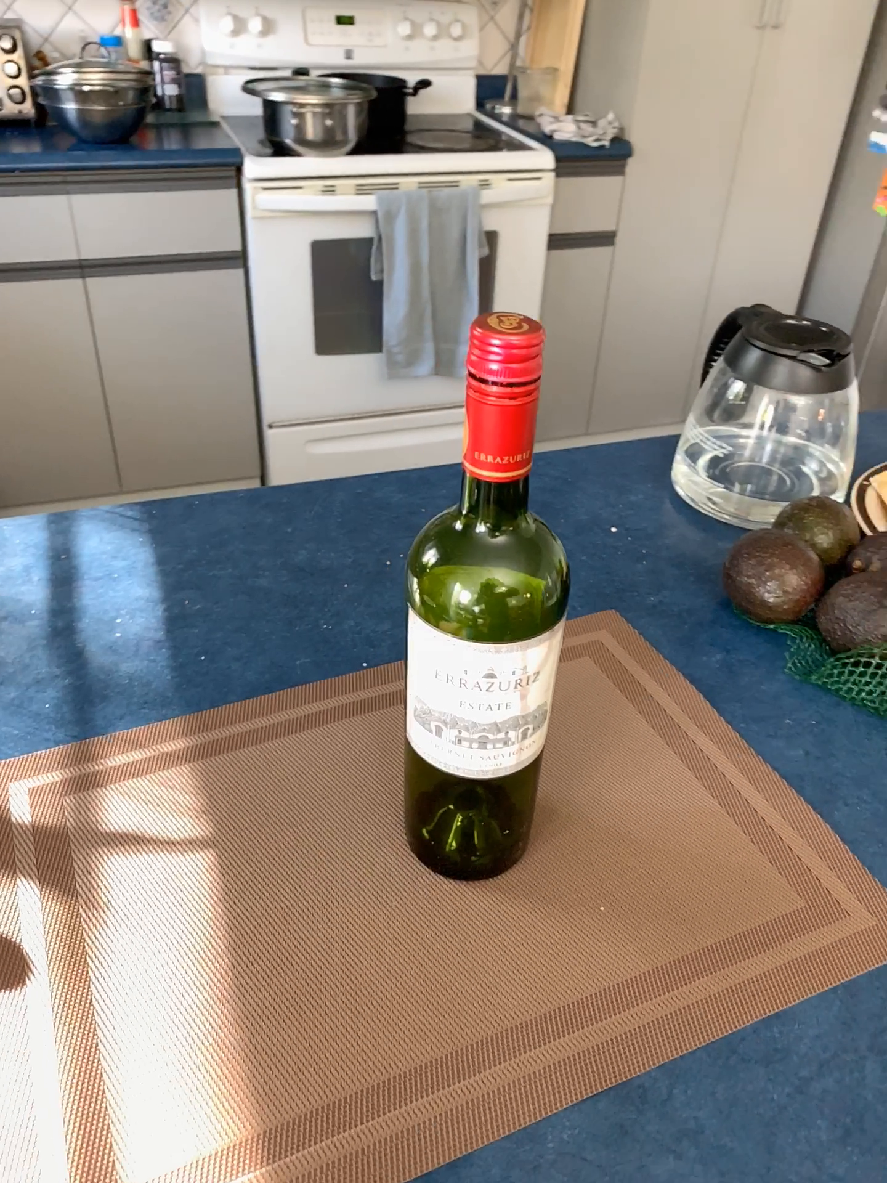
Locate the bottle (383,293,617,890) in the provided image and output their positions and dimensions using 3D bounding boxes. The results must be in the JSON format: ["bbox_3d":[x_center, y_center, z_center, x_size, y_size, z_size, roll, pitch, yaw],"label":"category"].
[{"bbox_3d":[0.018,0.015,0.429,0.080,0.277,0.081,2,35,-1],"label":"bottle"}]
